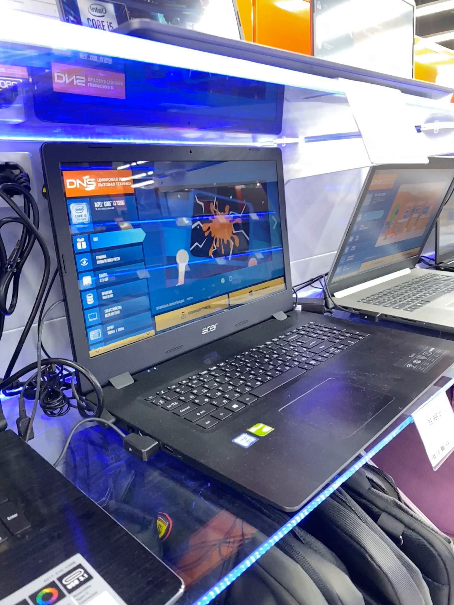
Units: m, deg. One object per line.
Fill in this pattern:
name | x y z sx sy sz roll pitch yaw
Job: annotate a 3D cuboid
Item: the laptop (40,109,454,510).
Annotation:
laptop | 0.071 -0.052 0.560 0.327 0.273 0.422 12 20 41
